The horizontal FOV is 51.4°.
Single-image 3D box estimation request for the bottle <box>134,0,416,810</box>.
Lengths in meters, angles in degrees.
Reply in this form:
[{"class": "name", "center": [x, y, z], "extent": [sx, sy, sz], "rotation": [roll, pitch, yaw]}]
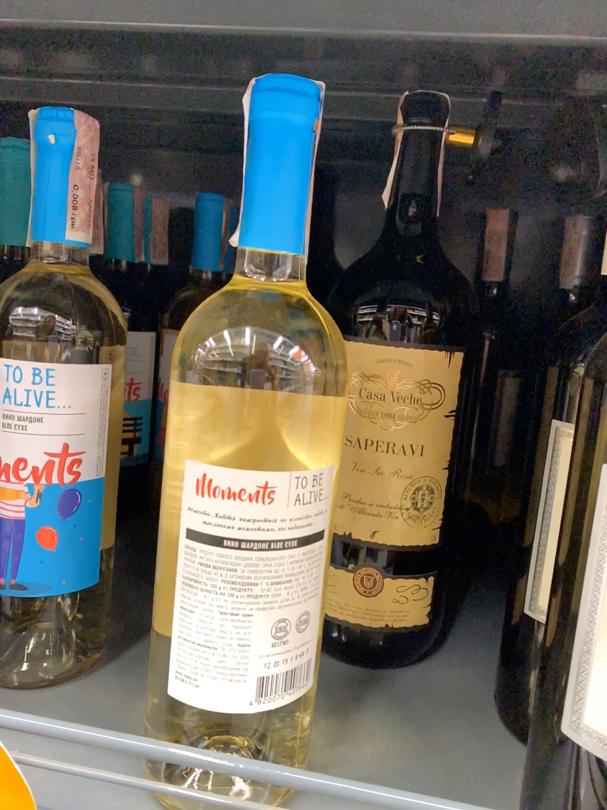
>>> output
[{"class": "bottle", "center": [-0.021, 0.014, 0.274], "extent": [0.080, 0.314, 0.081], "rotation": [5, 9, -1]}]
